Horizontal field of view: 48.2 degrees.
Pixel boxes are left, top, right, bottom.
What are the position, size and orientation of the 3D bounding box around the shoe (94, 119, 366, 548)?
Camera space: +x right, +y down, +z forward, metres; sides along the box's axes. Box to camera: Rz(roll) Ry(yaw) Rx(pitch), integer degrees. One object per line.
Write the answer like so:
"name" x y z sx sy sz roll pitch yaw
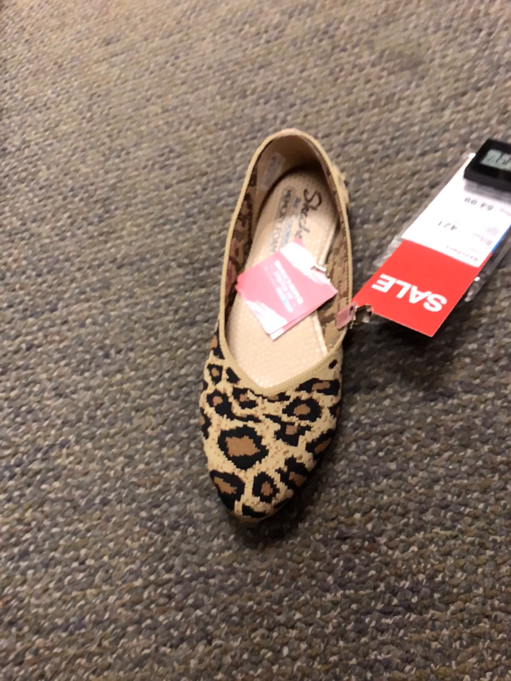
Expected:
"shoe" -0.001 -0.014 0.326 0.105 0.056 0.232 1 64 18
